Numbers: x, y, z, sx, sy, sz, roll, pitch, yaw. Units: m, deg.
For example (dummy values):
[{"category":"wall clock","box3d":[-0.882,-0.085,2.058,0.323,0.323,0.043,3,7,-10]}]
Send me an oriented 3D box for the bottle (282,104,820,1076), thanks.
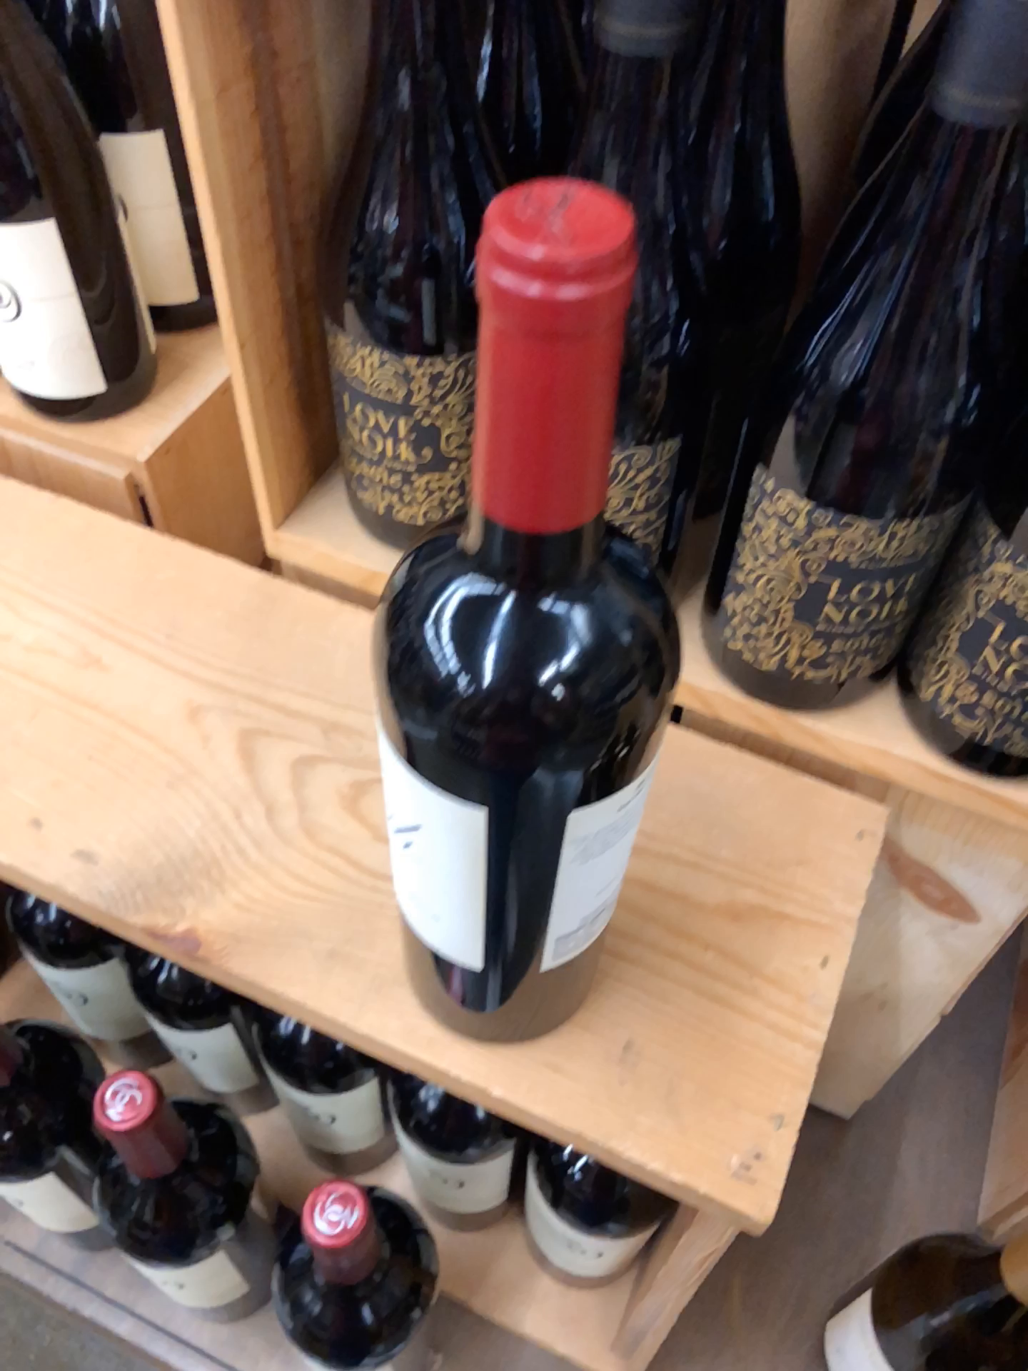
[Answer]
[{"category":"bottle","box3d":[-0.002,0.010,0.314,0.080,0.294,0.080,1,52,-1]}]
